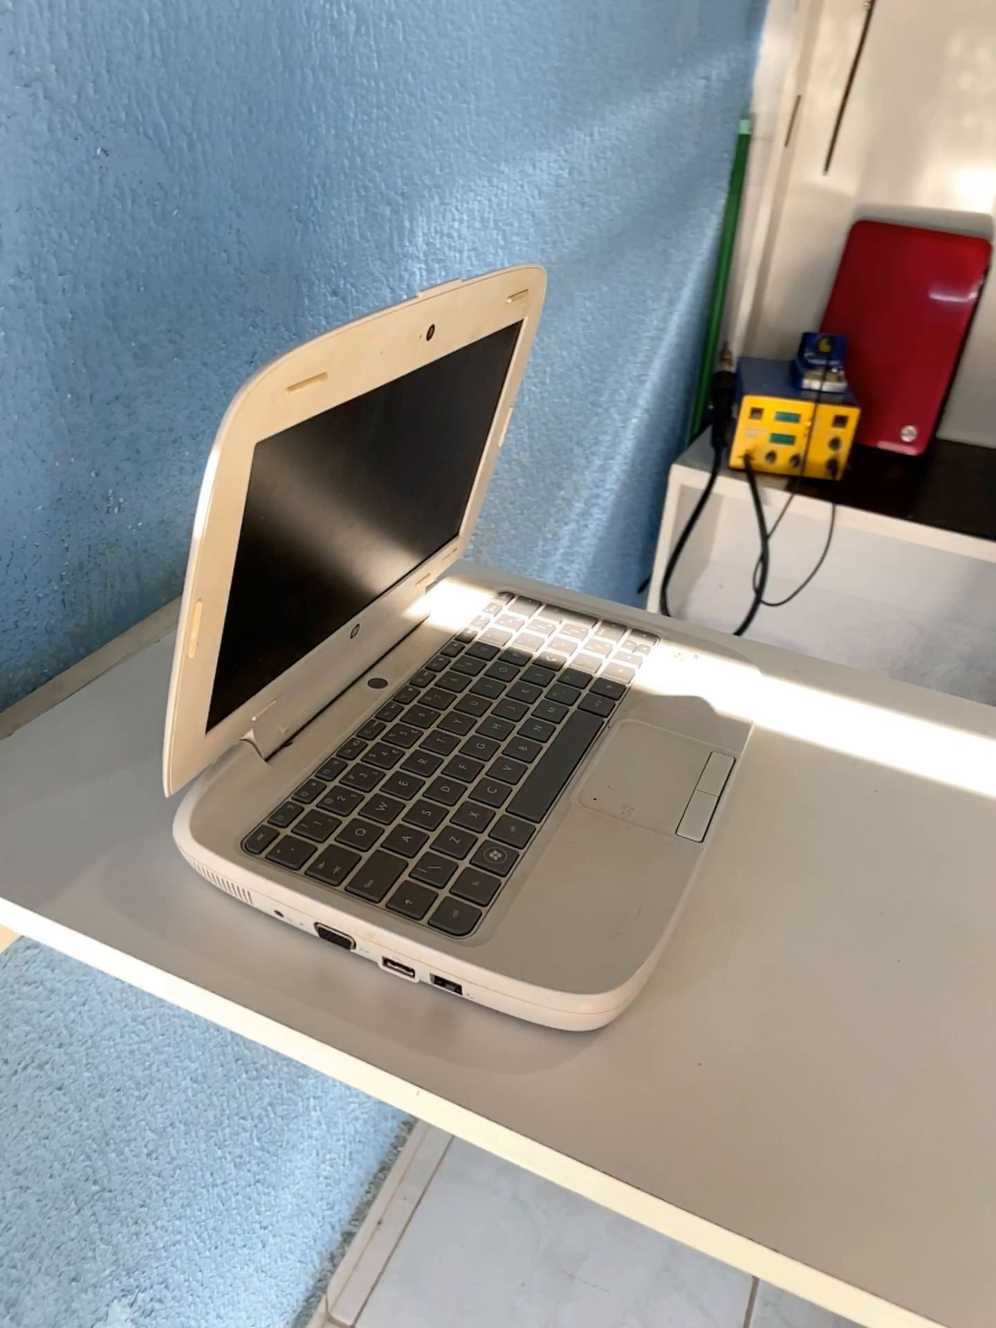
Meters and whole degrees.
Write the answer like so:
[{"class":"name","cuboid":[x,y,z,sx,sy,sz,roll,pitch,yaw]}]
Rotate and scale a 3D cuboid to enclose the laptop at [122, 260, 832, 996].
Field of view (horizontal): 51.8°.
[{"class":"laptop","cuboid":[0.011,-0.043,0.431,0.177,0.172,0.249,17,34,17]}]
